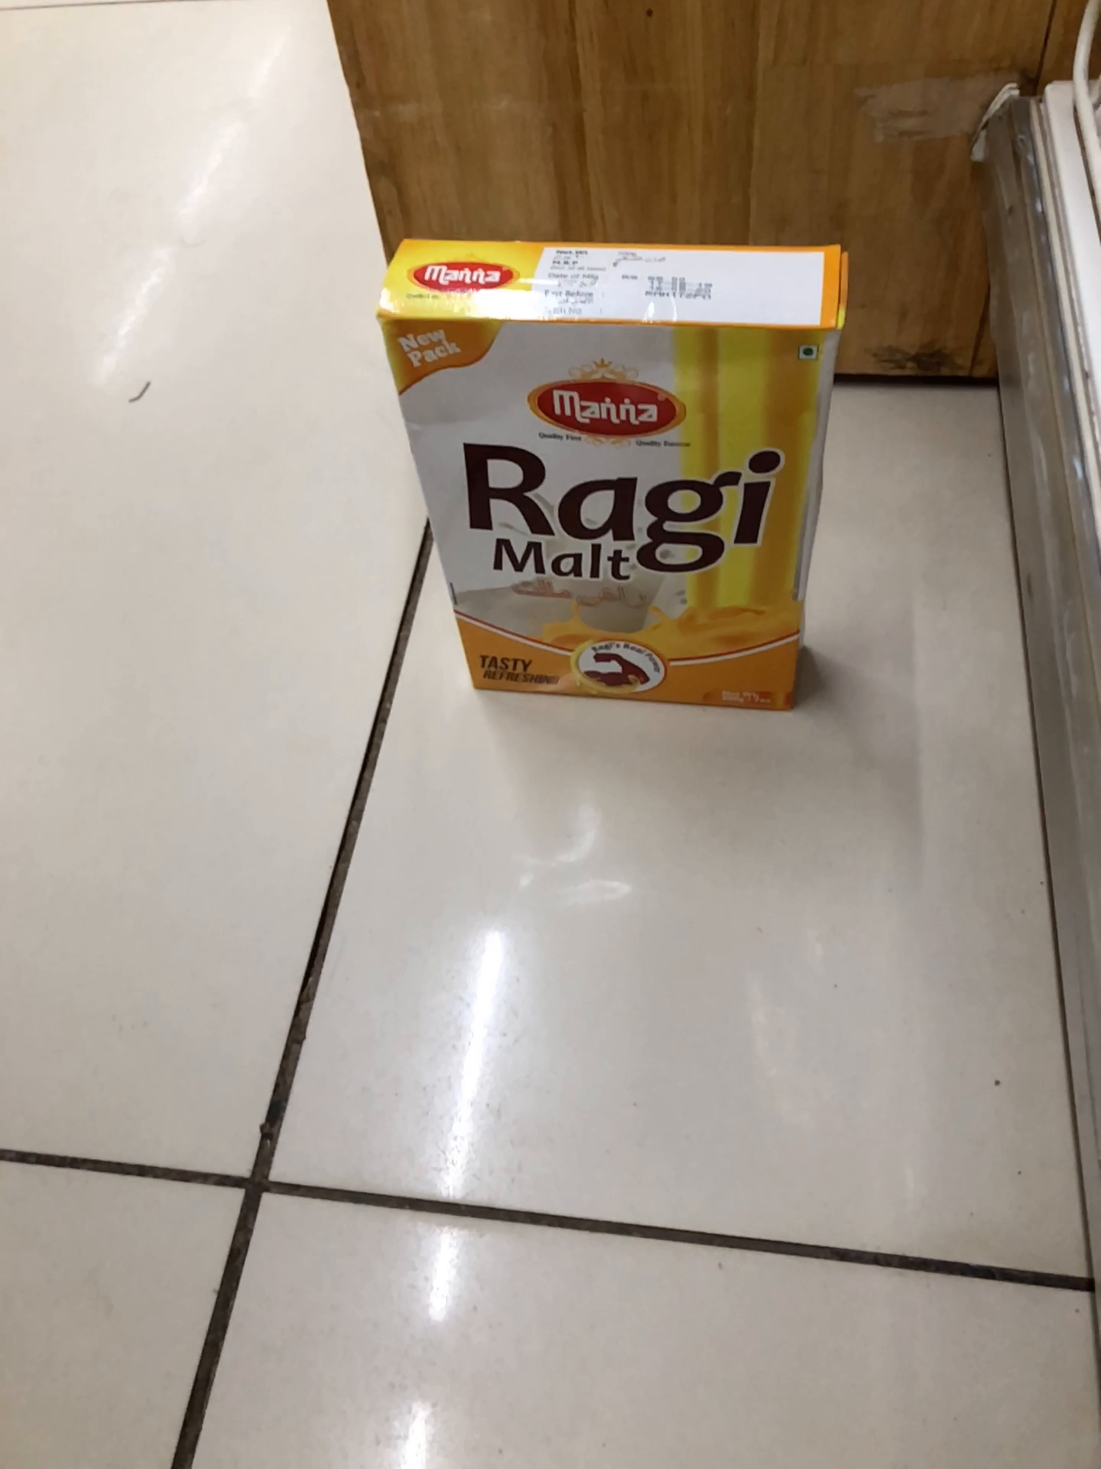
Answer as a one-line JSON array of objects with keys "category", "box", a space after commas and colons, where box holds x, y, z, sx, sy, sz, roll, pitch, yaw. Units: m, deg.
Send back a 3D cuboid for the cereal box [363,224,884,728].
[{"category": "cereal box", "box": [0.029, -0.077, 0.409, 0.140, 0.179, 0.040, 5, 55, 11]}]
